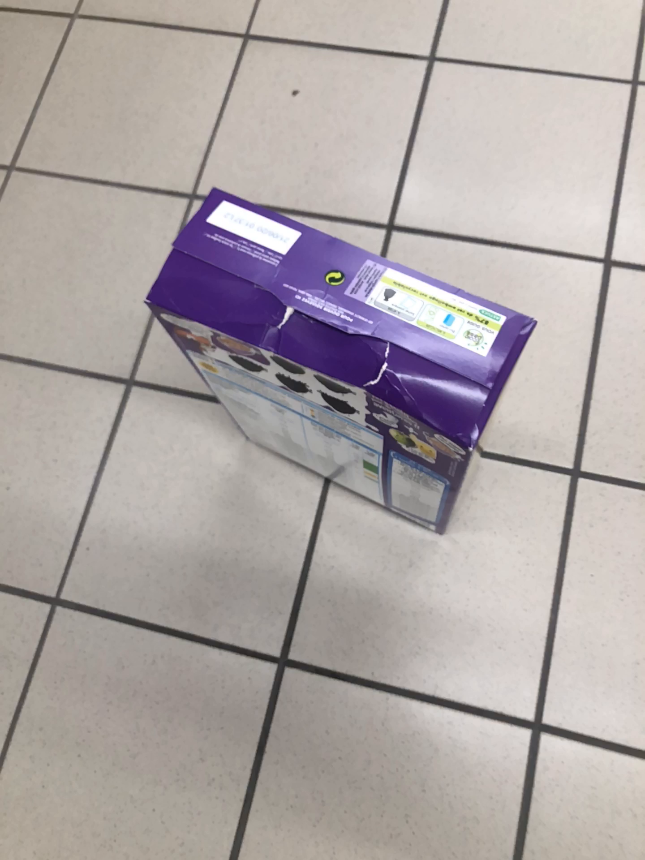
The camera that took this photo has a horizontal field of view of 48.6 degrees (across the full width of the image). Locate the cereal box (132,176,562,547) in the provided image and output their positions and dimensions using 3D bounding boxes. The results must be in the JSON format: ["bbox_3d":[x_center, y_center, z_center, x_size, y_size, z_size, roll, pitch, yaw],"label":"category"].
[{"bbox_3d":[0.021,-0.022,0.484,0.200,0.270,0.080,25,76,13],"label":"cereal box"}]
